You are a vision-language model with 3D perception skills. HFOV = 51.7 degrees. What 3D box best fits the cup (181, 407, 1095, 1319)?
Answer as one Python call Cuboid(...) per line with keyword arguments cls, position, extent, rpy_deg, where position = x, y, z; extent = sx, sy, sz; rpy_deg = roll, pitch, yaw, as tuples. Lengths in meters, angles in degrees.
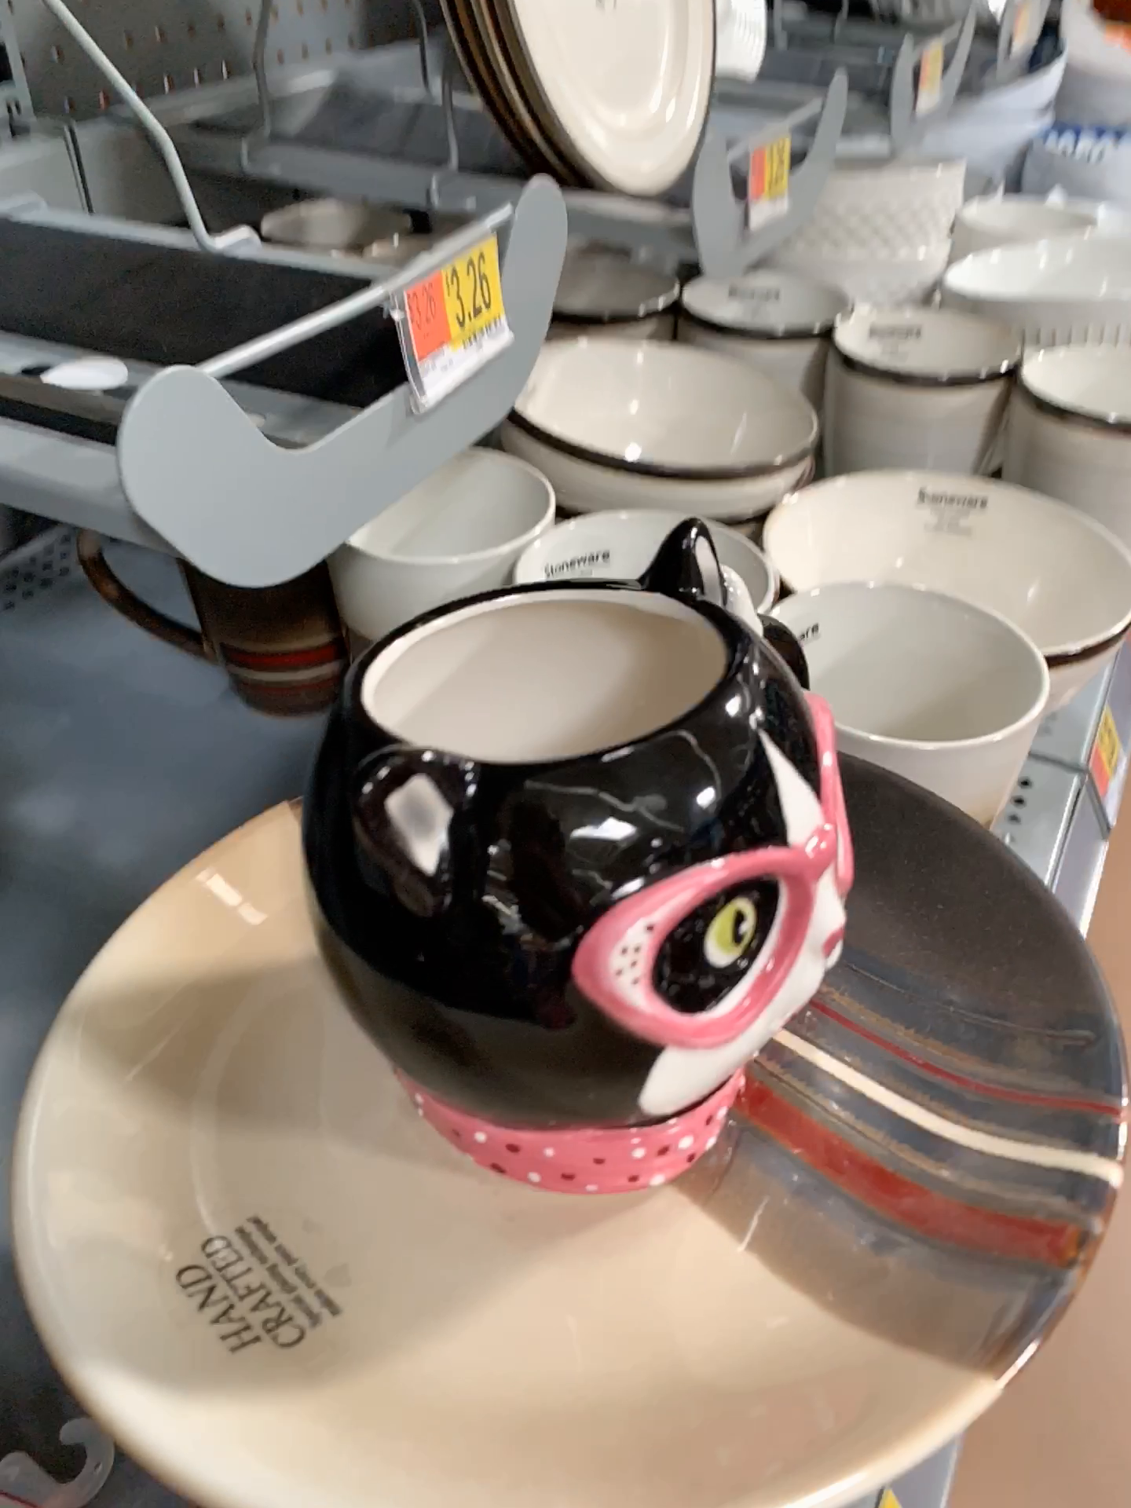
Cuboid(cls="cup", position=(0.022, 0.004, 0.225), extent=(0.096, 0.073, 0.145), rpy_deg=(24, 45, 26))
